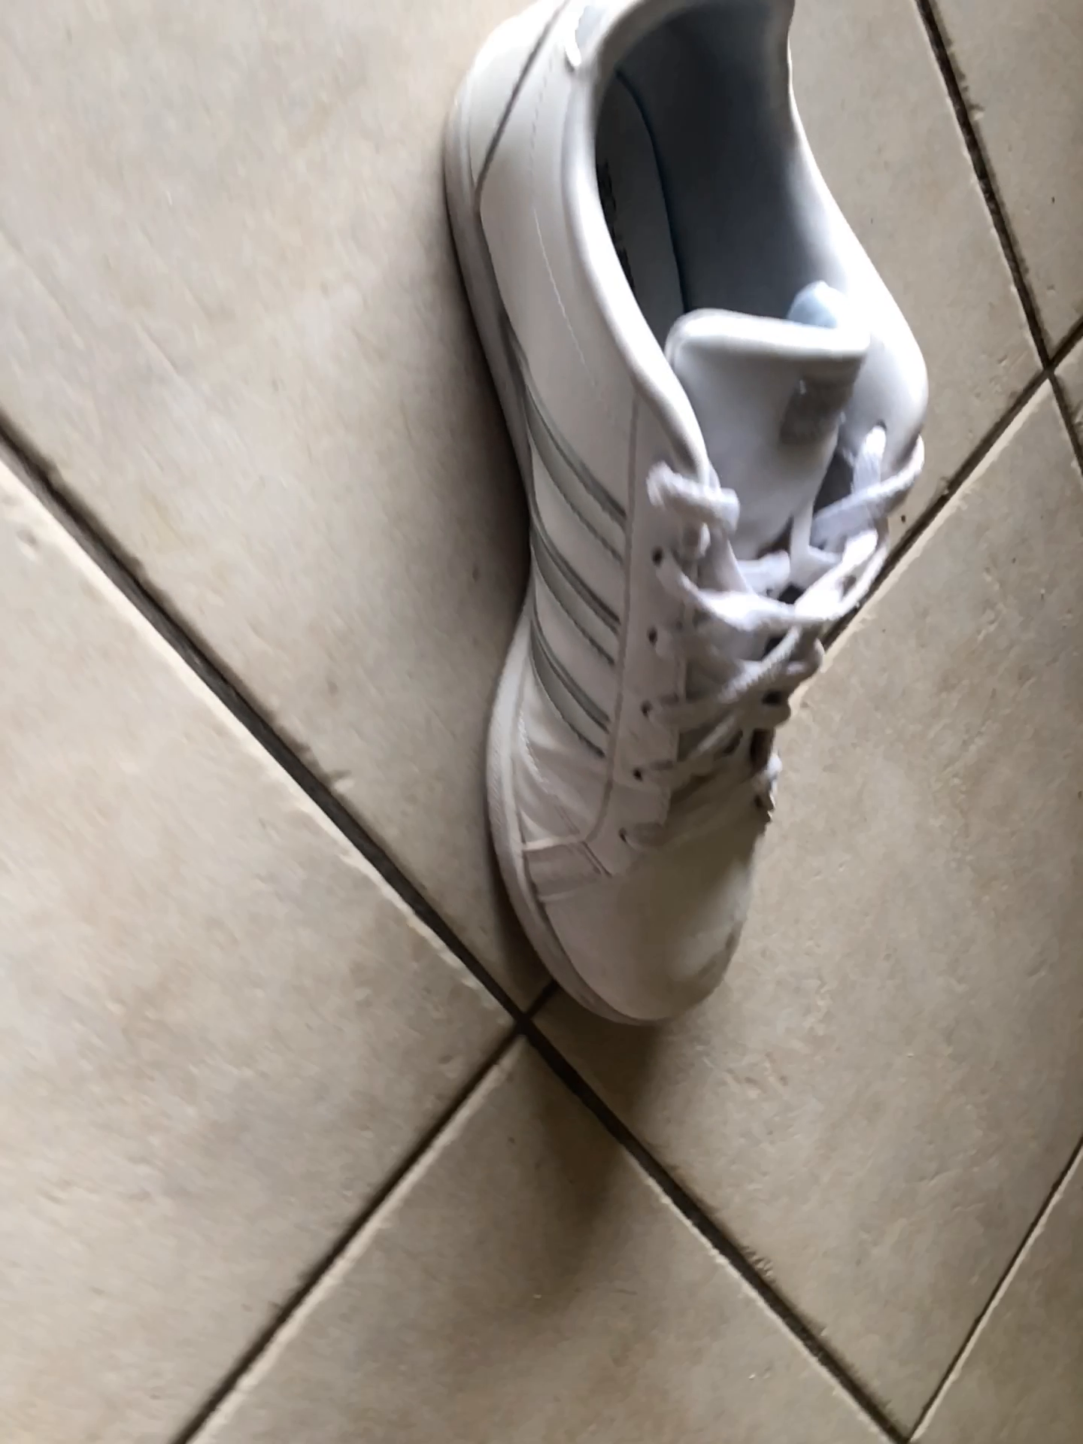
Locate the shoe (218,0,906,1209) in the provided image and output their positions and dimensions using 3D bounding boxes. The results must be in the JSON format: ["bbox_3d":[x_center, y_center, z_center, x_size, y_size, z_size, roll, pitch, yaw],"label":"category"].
[{"bbox_3d":[0.010,-0.047,0.278,0.091,0.099,0.270,-16,107,-34],"label":"shoe"}]
